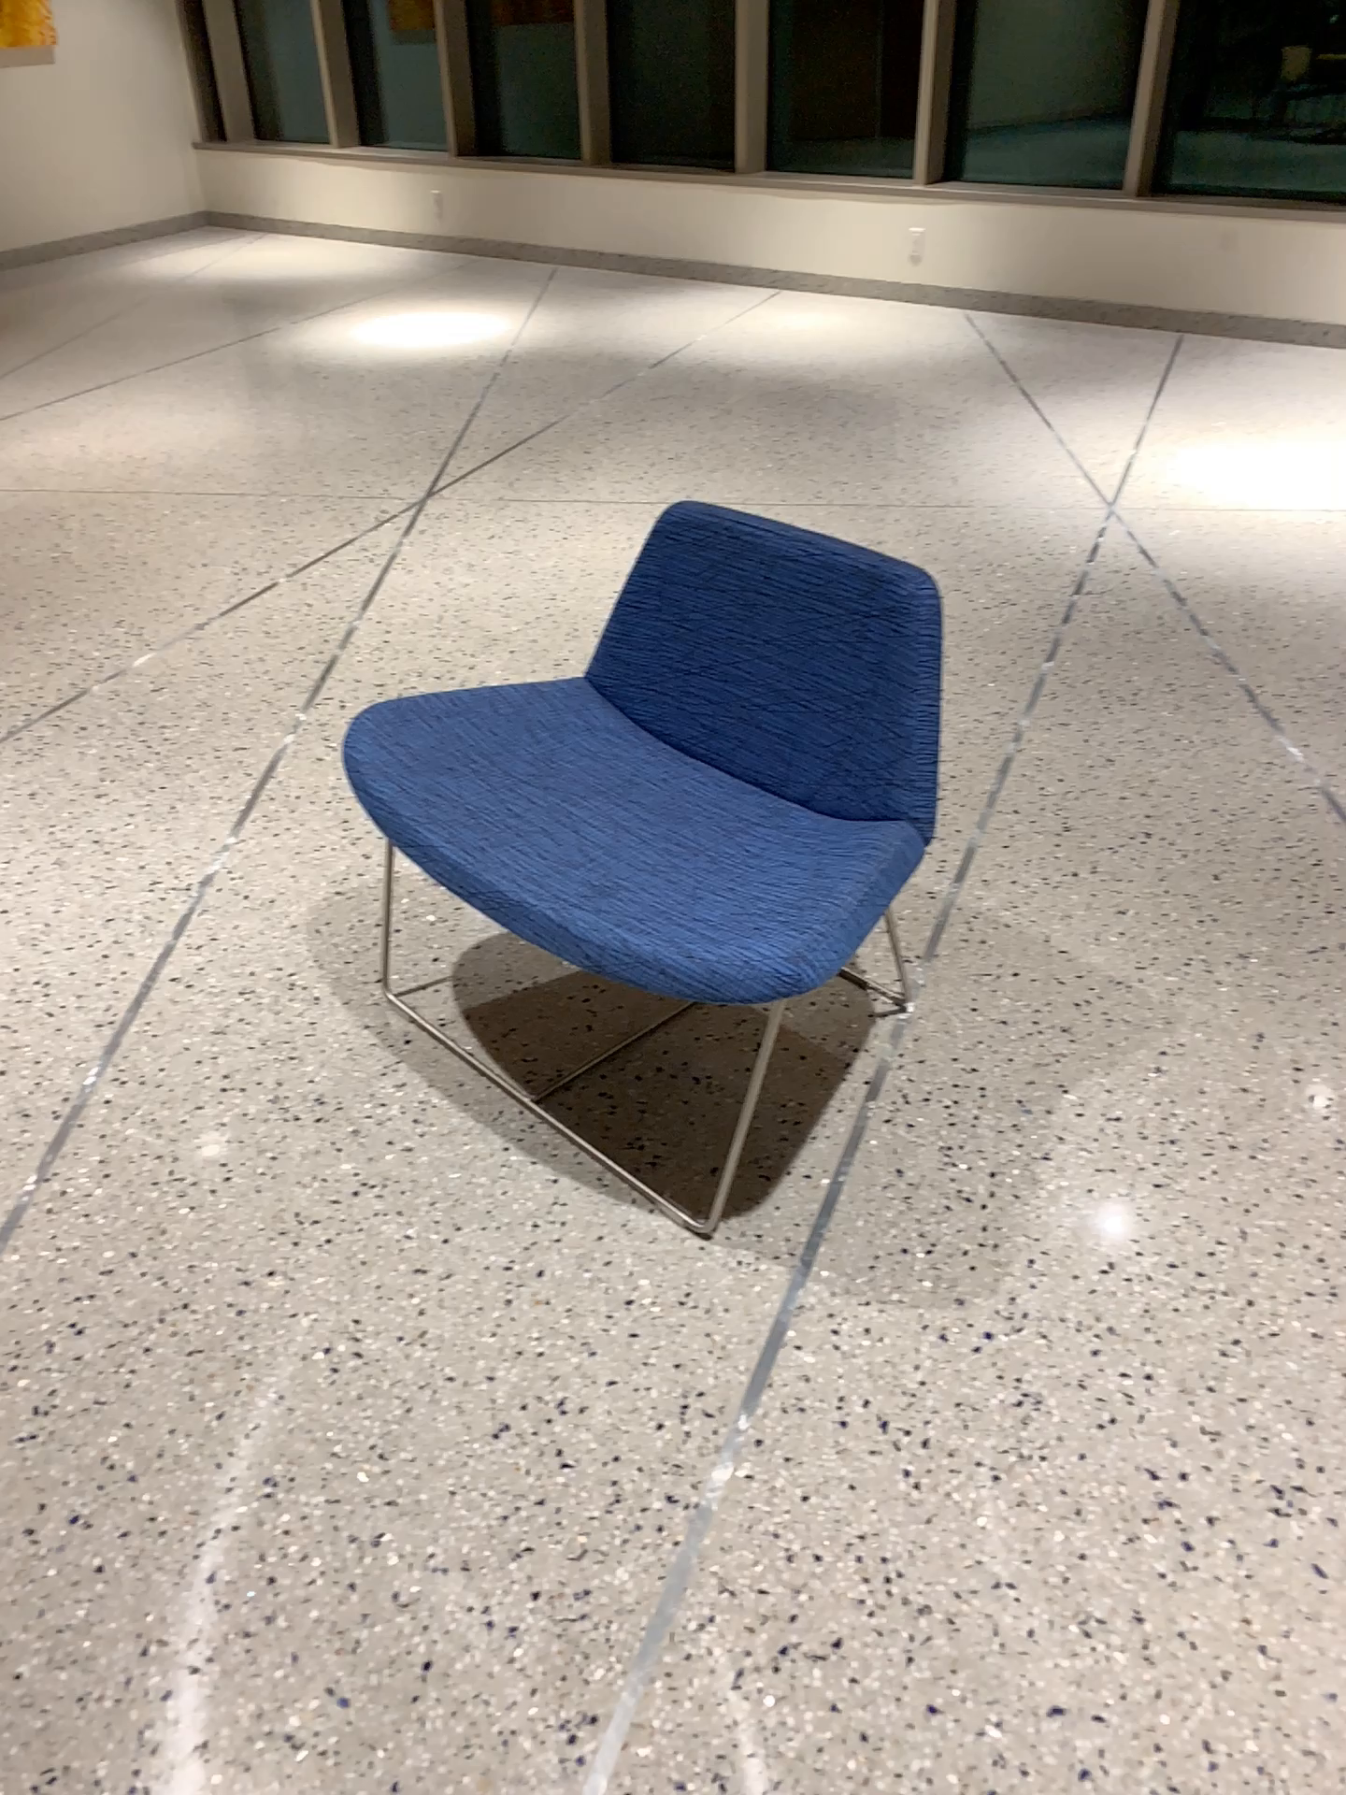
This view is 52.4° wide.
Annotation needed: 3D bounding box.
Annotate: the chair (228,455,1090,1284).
[{"bbox_3d":[-0.042,-0.130,1.978,0.664,0.698,0.946,-28,41,-35],"label":"chair"}]
